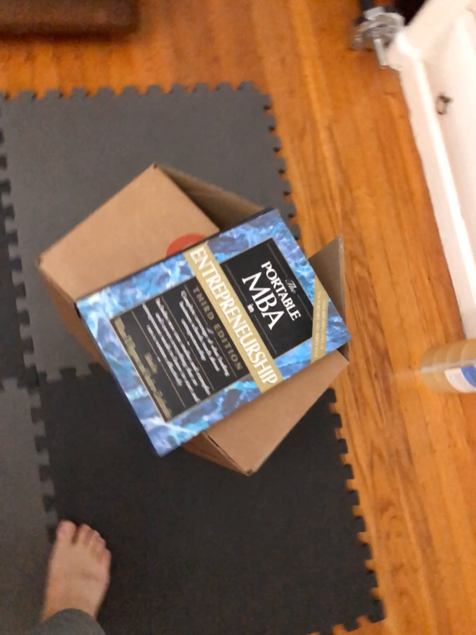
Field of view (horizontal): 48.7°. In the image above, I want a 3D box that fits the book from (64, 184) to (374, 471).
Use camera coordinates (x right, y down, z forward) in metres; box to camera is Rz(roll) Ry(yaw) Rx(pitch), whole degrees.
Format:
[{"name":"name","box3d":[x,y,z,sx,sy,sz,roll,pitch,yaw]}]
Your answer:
[{"name":"book","box3d":[-0.018,0.005,0.596,0.270,0.060,0.210,-29,86,-16]}]
